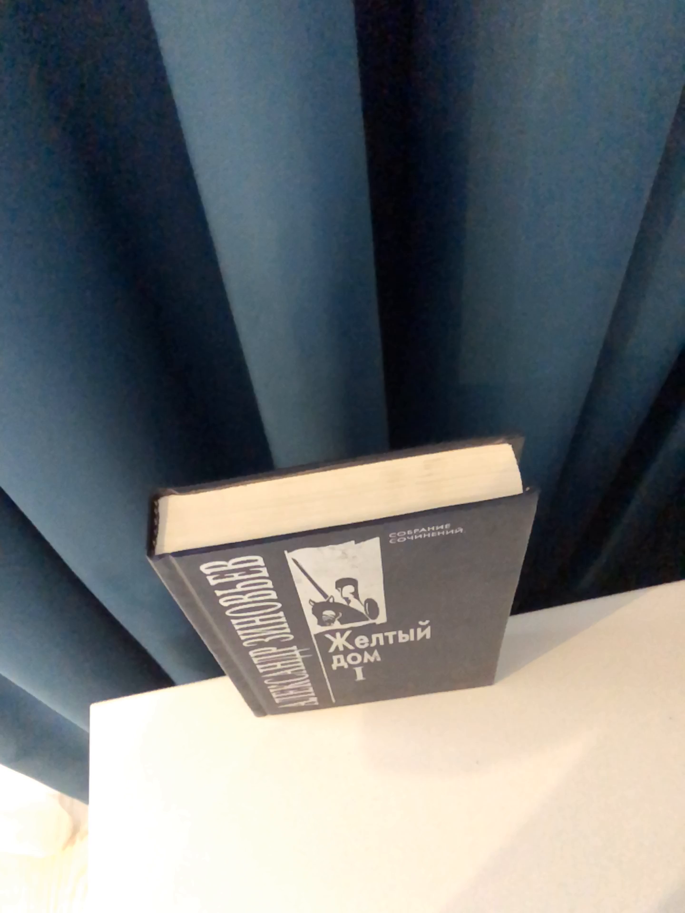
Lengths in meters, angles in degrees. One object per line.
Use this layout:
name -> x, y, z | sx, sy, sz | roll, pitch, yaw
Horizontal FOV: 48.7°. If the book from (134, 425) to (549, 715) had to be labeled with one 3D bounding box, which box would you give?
book -> 0.008, 0.068, 0.350 | 0.140, 0.210, 0.033 | -8, 57, 1
